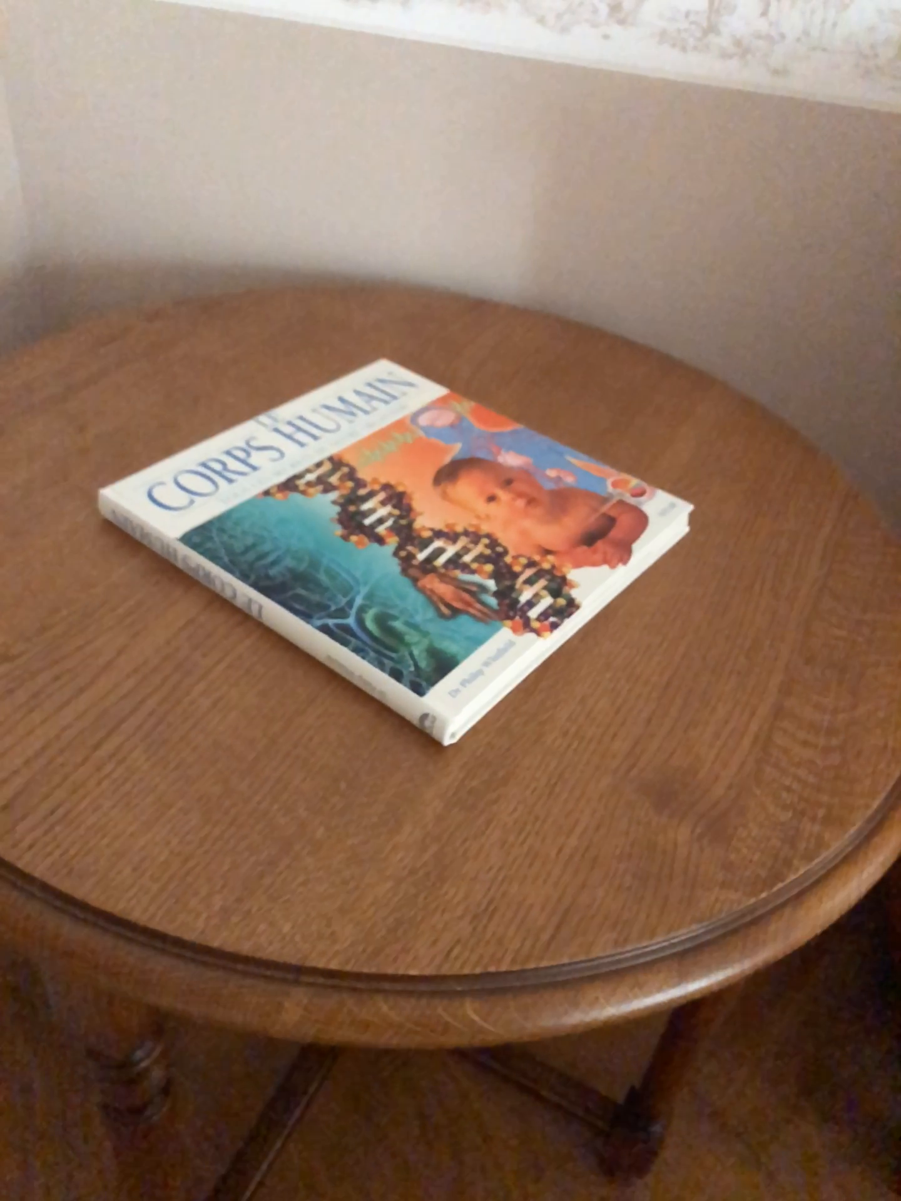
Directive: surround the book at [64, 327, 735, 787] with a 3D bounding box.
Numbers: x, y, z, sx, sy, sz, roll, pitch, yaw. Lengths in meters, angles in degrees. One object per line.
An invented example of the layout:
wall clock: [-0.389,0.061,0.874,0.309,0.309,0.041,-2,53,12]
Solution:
book: [-0.022,-0.057,0.600,0.290,0.040,0.272,30,45,24]
